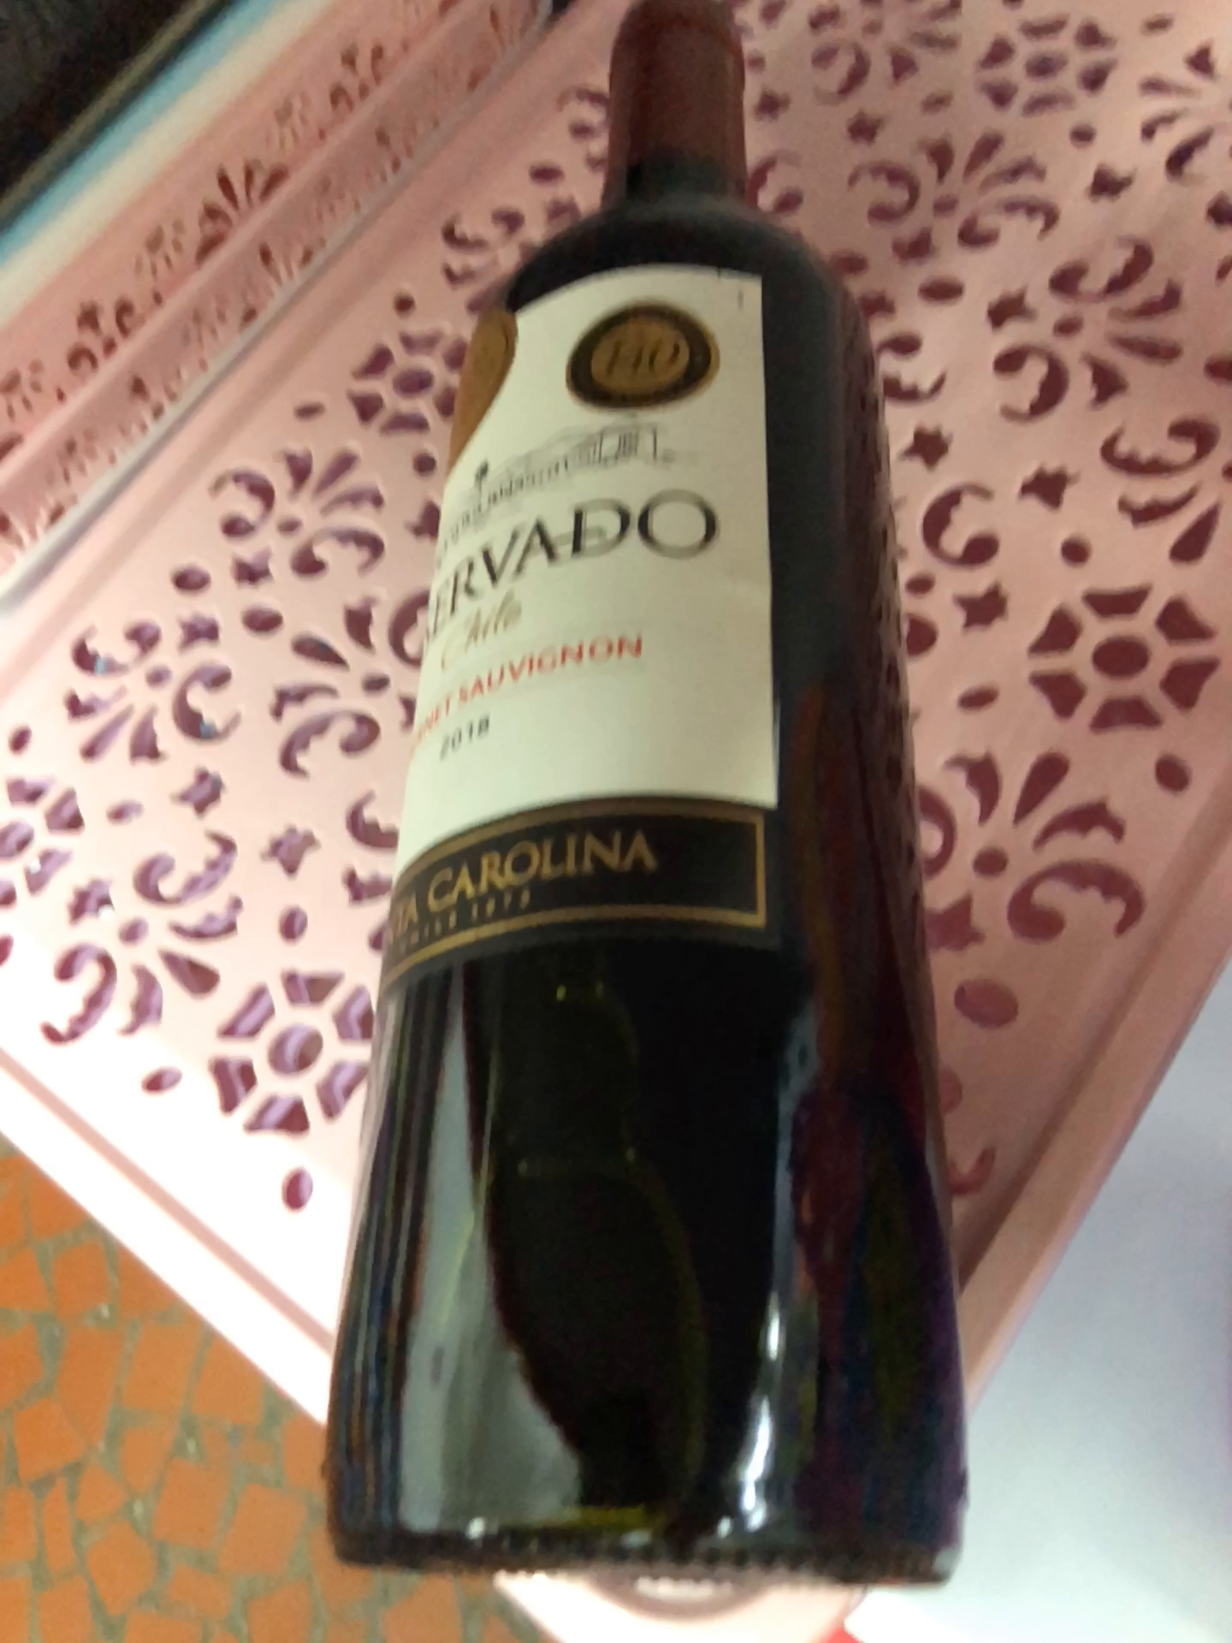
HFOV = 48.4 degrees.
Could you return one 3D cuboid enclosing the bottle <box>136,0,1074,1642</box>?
[{"bbox_3d":[0.014,-0.057,0.226,0.080,0.060,0.331,-6,56,15],"label":"bottle"}]
